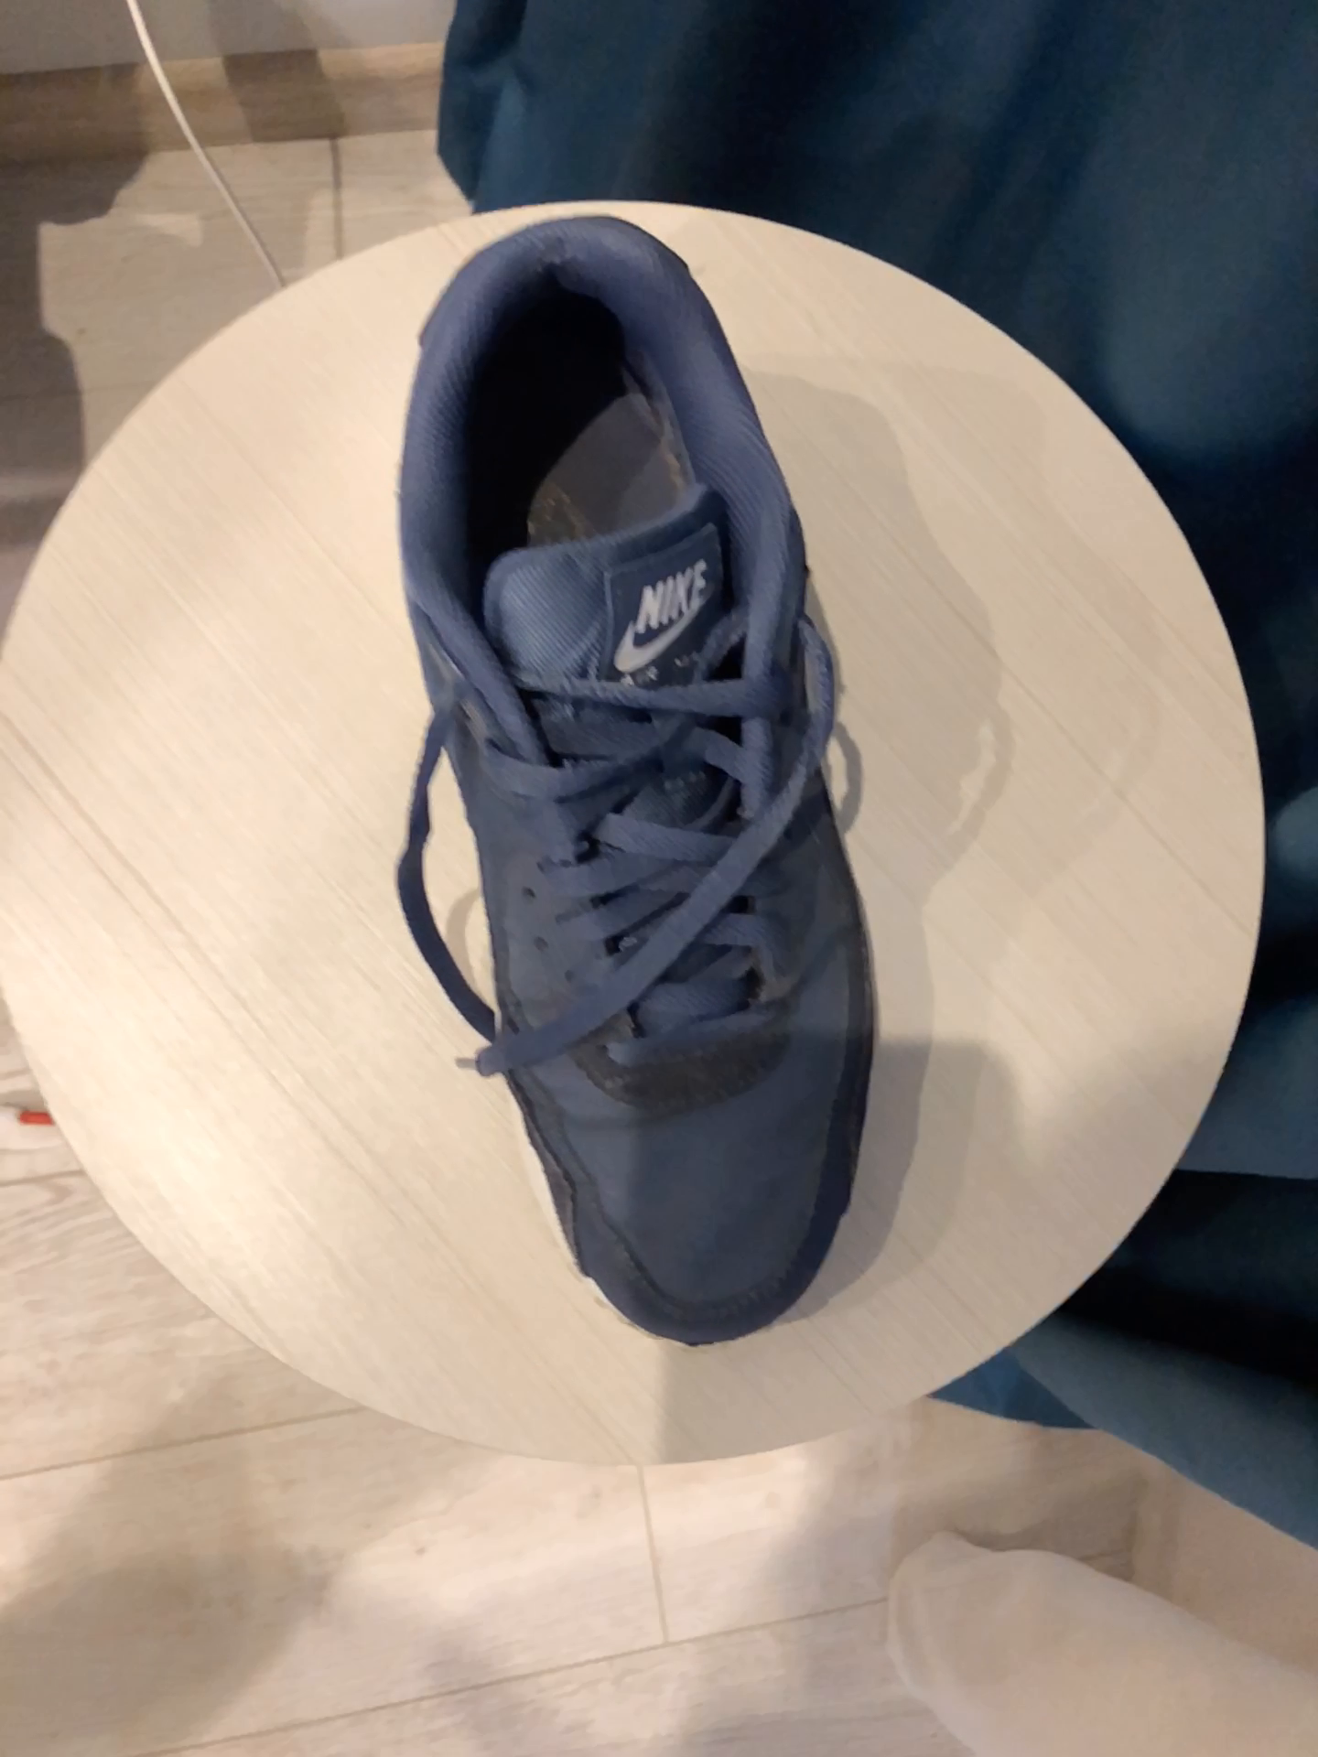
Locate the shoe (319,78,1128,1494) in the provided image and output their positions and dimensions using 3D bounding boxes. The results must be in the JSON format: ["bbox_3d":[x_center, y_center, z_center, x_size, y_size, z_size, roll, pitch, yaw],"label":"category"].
[{"bbox_3d":[0.004,-0.024,0.349,0.110,0.110,0.280,-10,81,-8],"label":"shoe"}]
